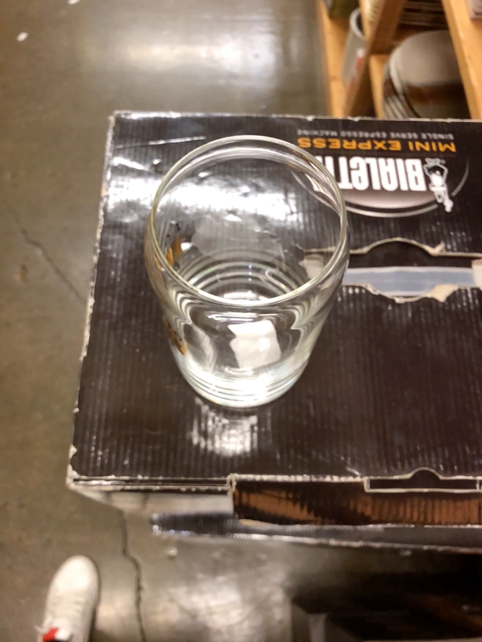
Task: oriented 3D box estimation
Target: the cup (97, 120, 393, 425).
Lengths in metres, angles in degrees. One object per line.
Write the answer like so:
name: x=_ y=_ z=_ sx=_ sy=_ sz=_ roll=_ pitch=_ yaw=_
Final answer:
cup: x=0.000 y=-0.010 z=0.230 sx=0.087 sy=0.116 sz=0.081 roll=1 pitch=67 yaw=-2
